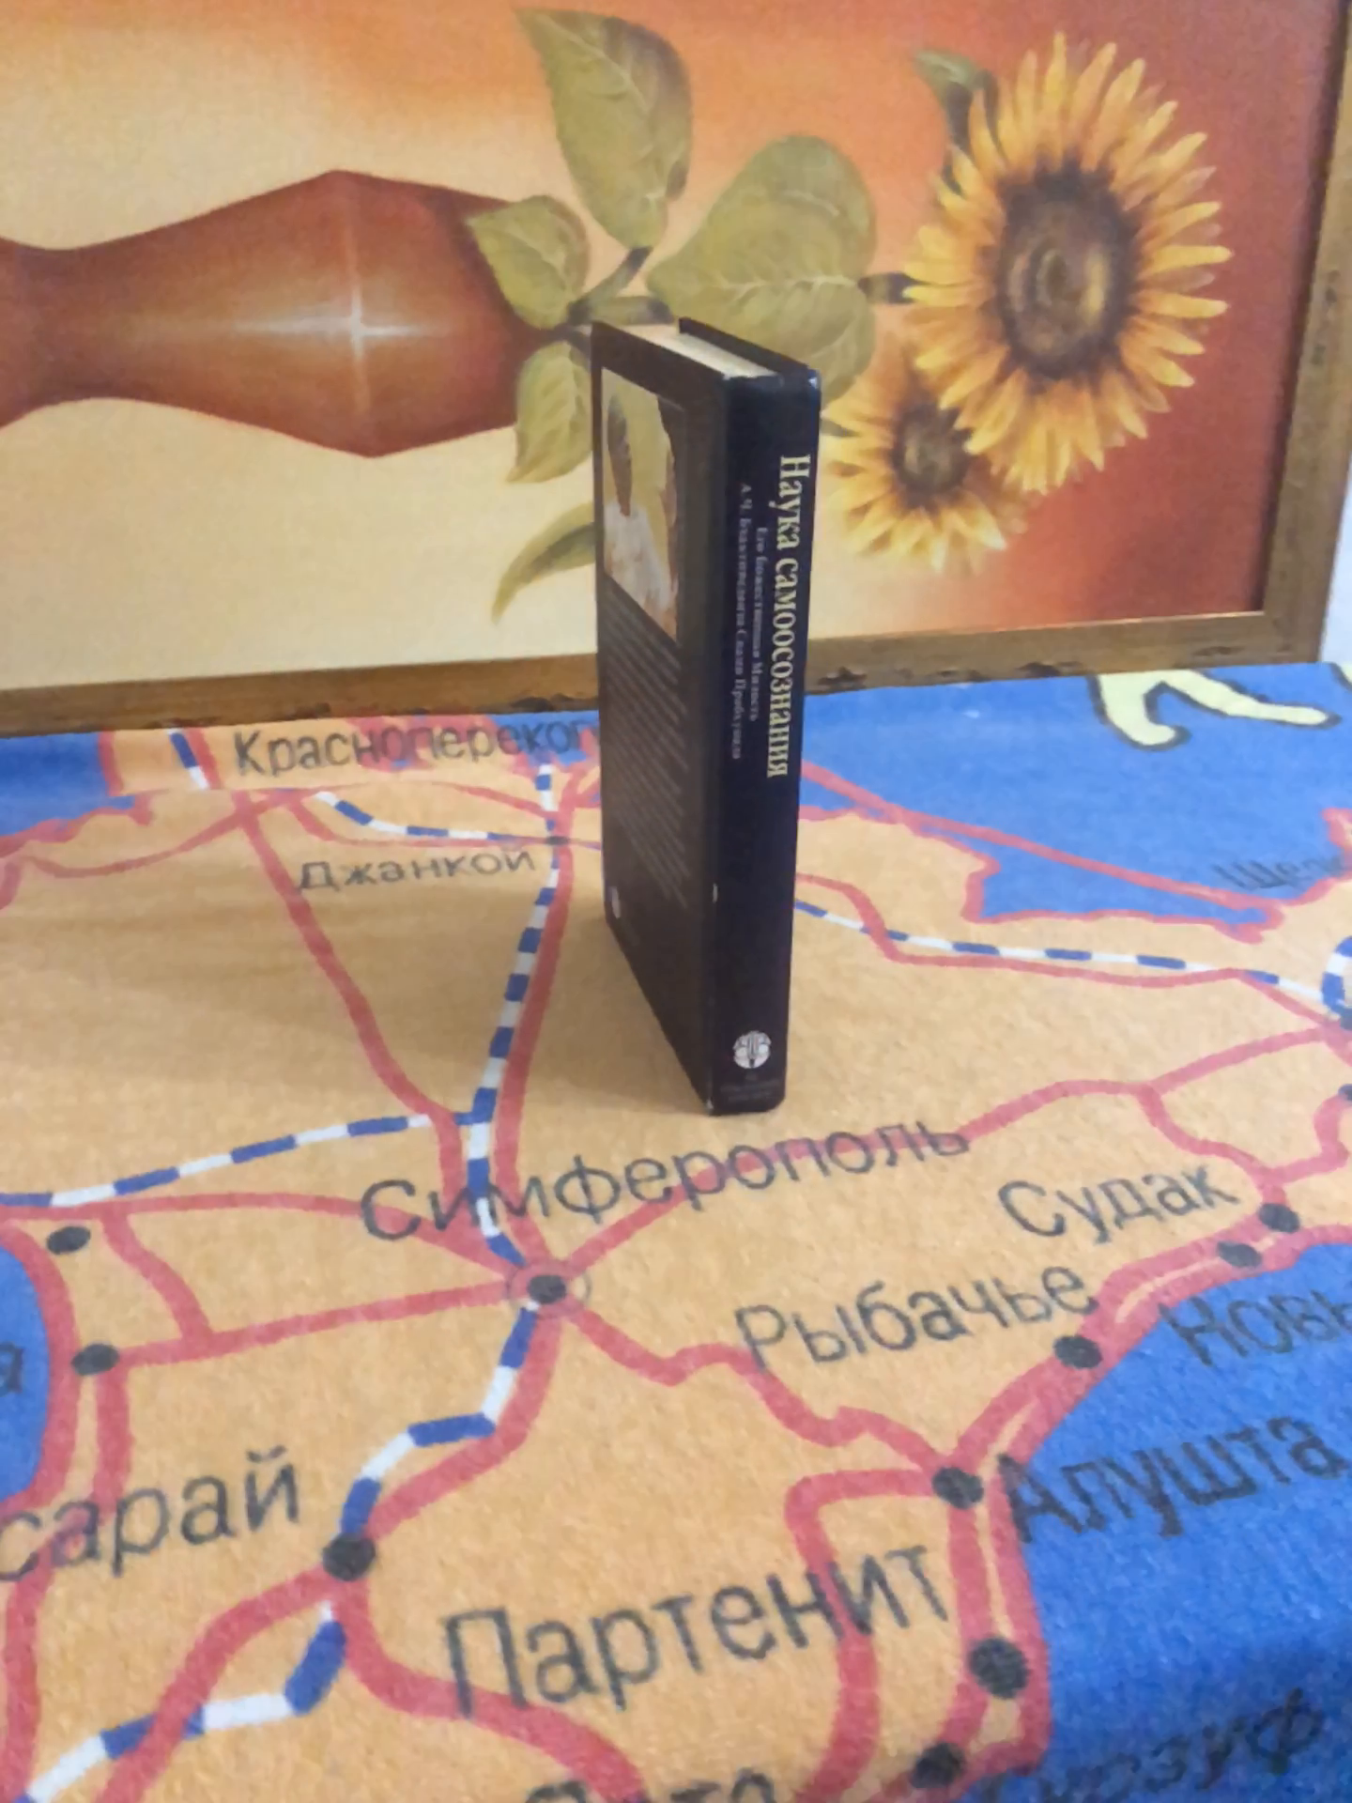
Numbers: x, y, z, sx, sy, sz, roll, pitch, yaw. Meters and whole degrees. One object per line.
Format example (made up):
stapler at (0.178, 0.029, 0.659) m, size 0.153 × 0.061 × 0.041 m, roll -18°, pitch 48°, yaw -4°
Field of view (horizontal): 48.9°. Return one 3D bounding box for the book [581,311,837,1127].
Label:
book at (0.005, -0.060, 0.445) m, size 0.030 × 0.205 × 0.141 m, roll -7°, pitch 27°, yaw -13°
